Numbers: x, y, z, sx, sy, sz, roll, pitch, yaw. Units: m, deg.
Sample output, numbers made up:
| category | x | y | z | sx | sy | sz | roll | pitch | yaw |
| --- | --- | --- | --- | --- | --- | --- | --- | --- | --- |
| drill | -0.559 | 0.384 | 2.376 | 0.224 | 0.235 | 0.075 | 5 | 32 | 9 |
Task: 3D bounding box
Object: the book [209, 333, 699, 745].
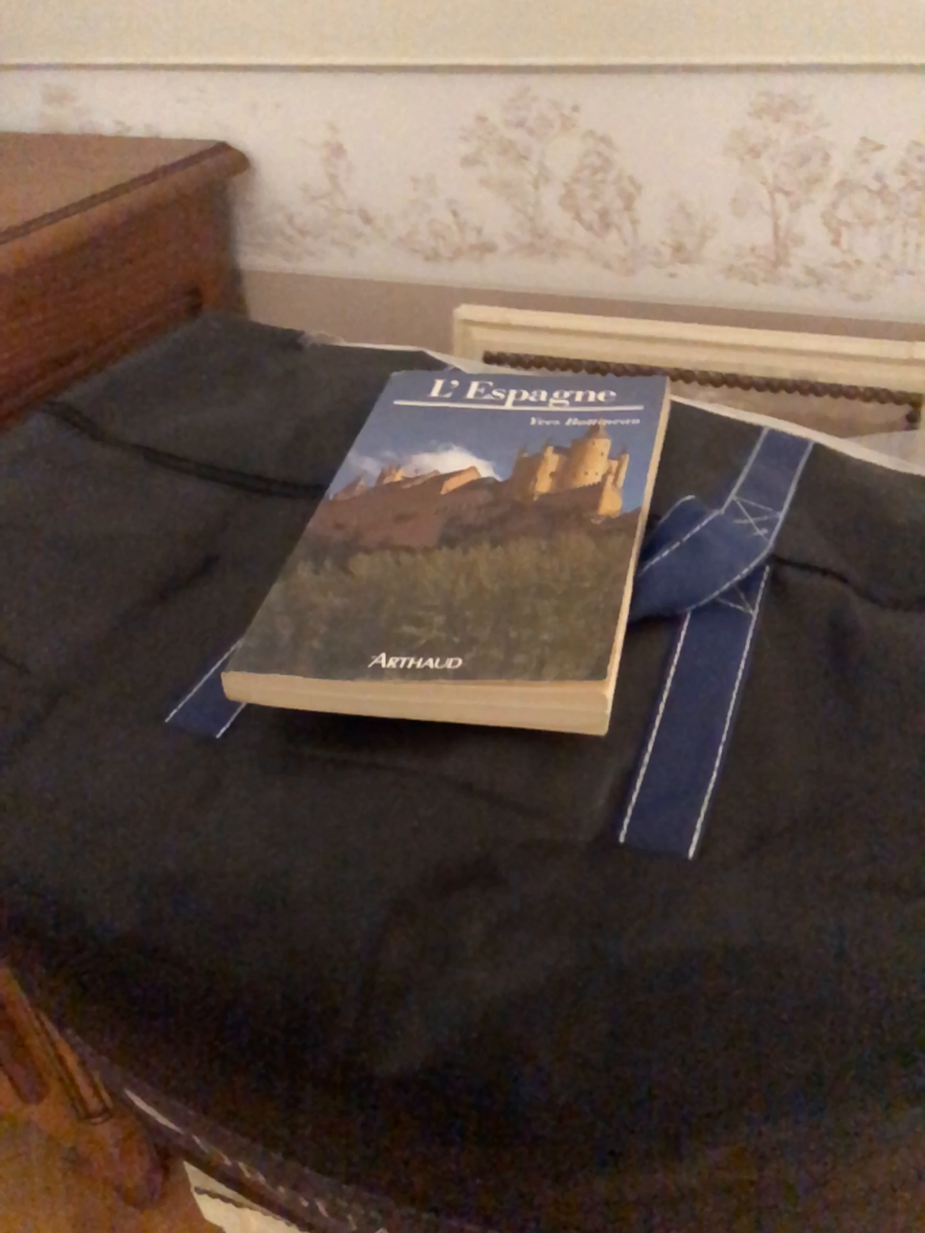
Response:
| category | x | y | z | sx | sy | sz | roll | pitch | yaw |
| --- | --- | --- | --- | --- | --- | --- | --- | --- | --- |
| book | 0.014 | -0.052 | 0.466 | 0.170 | 0.030 | 0.252 | 2 | 43 | 16 |
